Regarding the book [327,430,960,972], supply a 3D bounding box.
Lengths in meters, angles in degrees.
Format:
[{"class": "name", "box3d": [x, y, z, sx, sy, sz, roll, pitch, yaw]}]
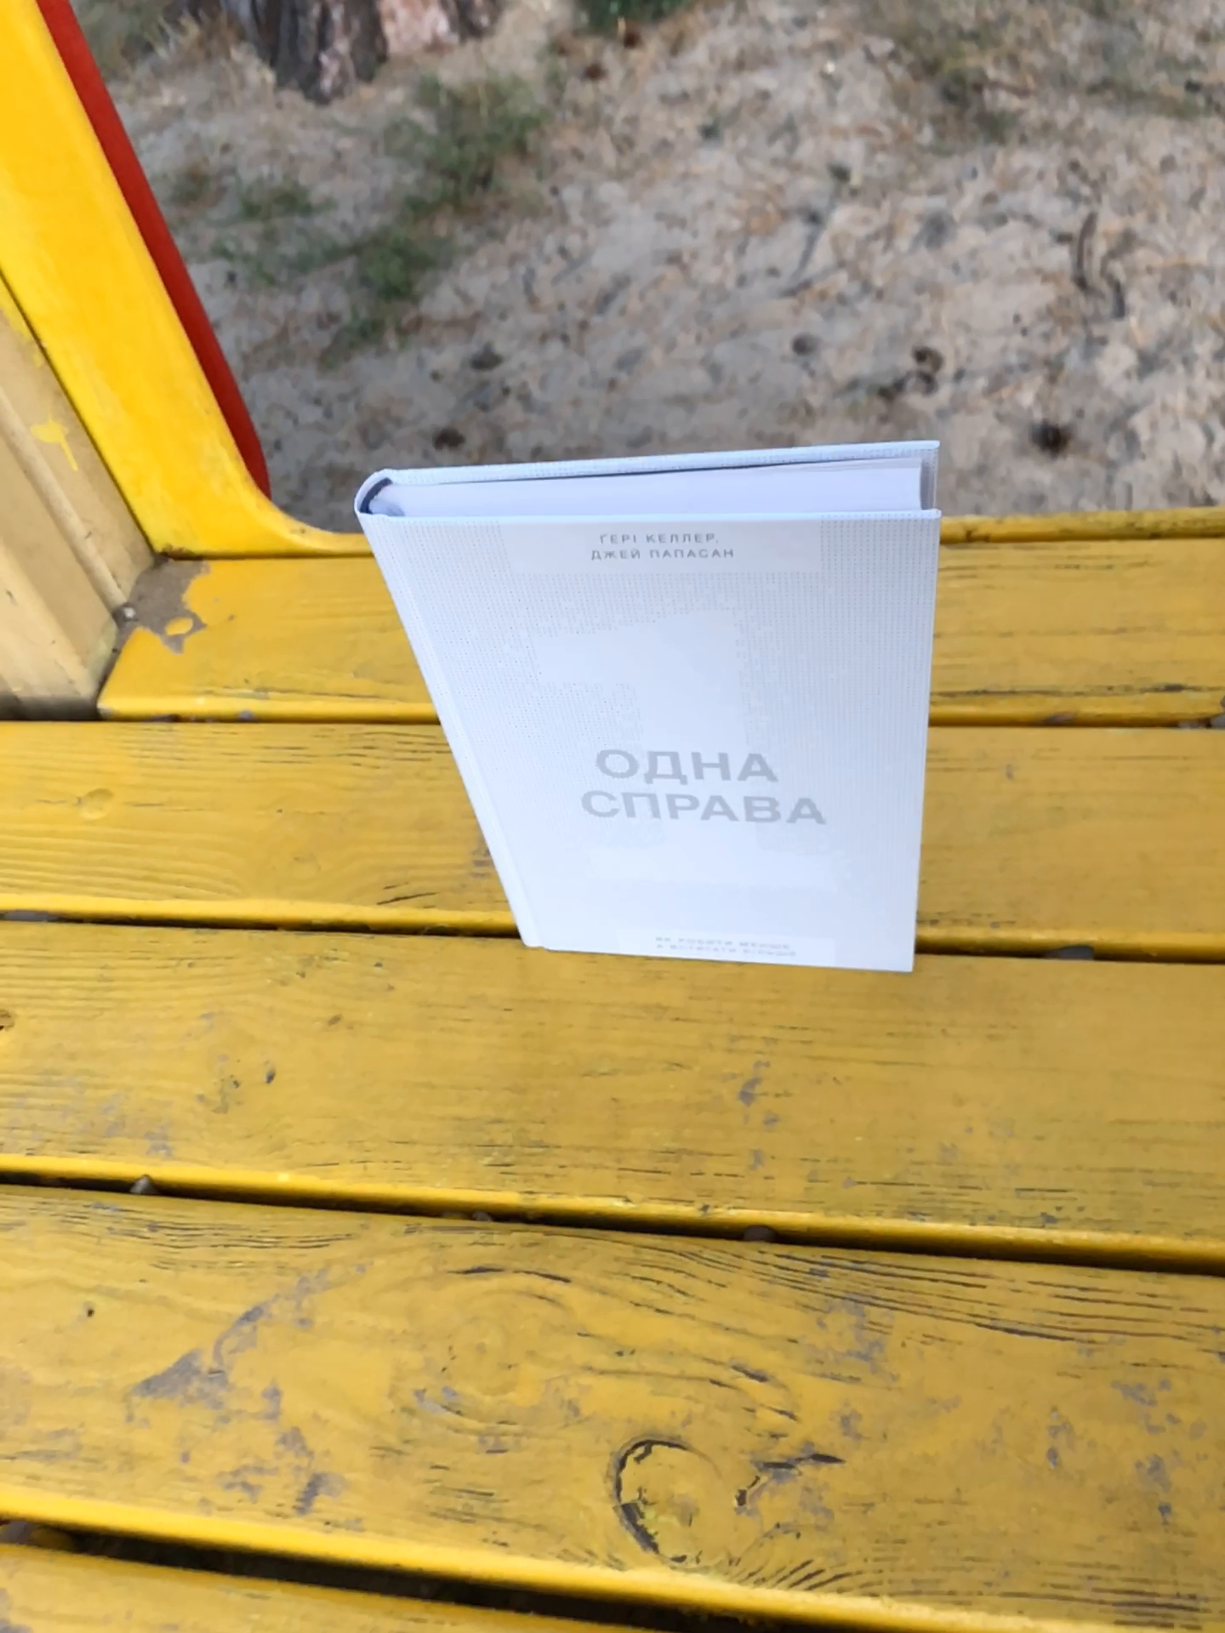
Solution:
[{"class": "book", "box3d": [0.021, -0.022, 0.414, 0.154, 0.209, 0.030, 2, 55, 12]}]
